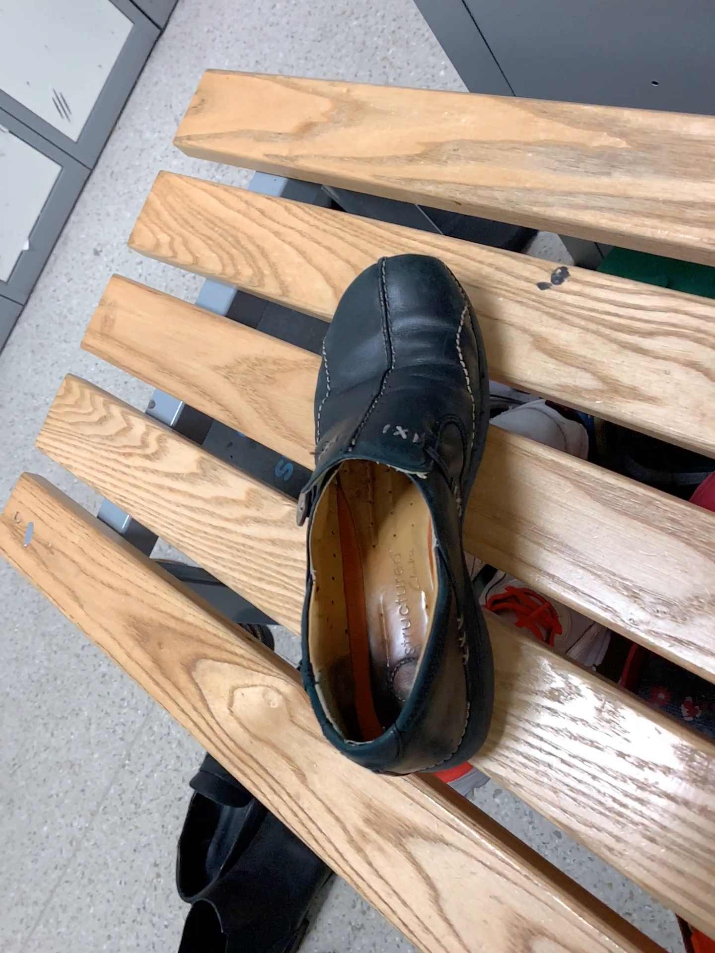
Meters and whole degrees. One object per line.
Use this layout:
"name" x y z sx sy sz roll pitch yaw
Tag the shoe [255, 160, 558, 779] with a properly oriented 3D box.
"shoe" 0.017 -0.001 0.357 0.104 0.075 0.268 -14 70 29
